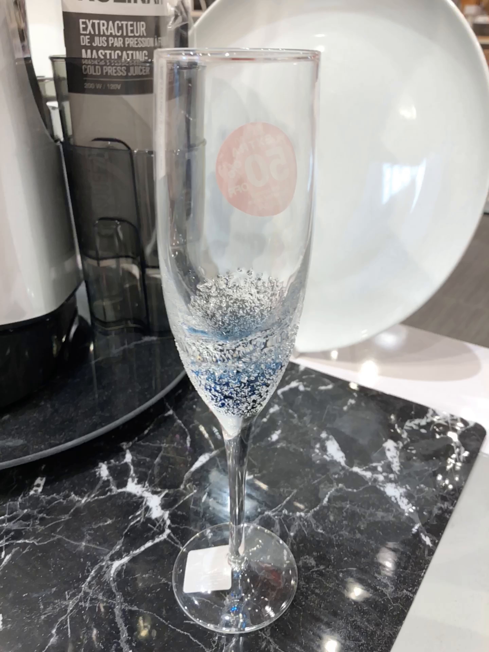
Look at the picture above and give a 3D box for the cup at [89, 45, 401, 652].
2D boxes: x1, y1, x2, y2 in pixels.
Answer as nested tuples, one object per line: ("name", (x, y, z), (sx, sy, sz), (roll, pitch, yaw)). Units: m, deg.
("cup", (-0.002, 0.022, 0.231), (0.070, 0.249, 0.070), (1, 28, 0))
